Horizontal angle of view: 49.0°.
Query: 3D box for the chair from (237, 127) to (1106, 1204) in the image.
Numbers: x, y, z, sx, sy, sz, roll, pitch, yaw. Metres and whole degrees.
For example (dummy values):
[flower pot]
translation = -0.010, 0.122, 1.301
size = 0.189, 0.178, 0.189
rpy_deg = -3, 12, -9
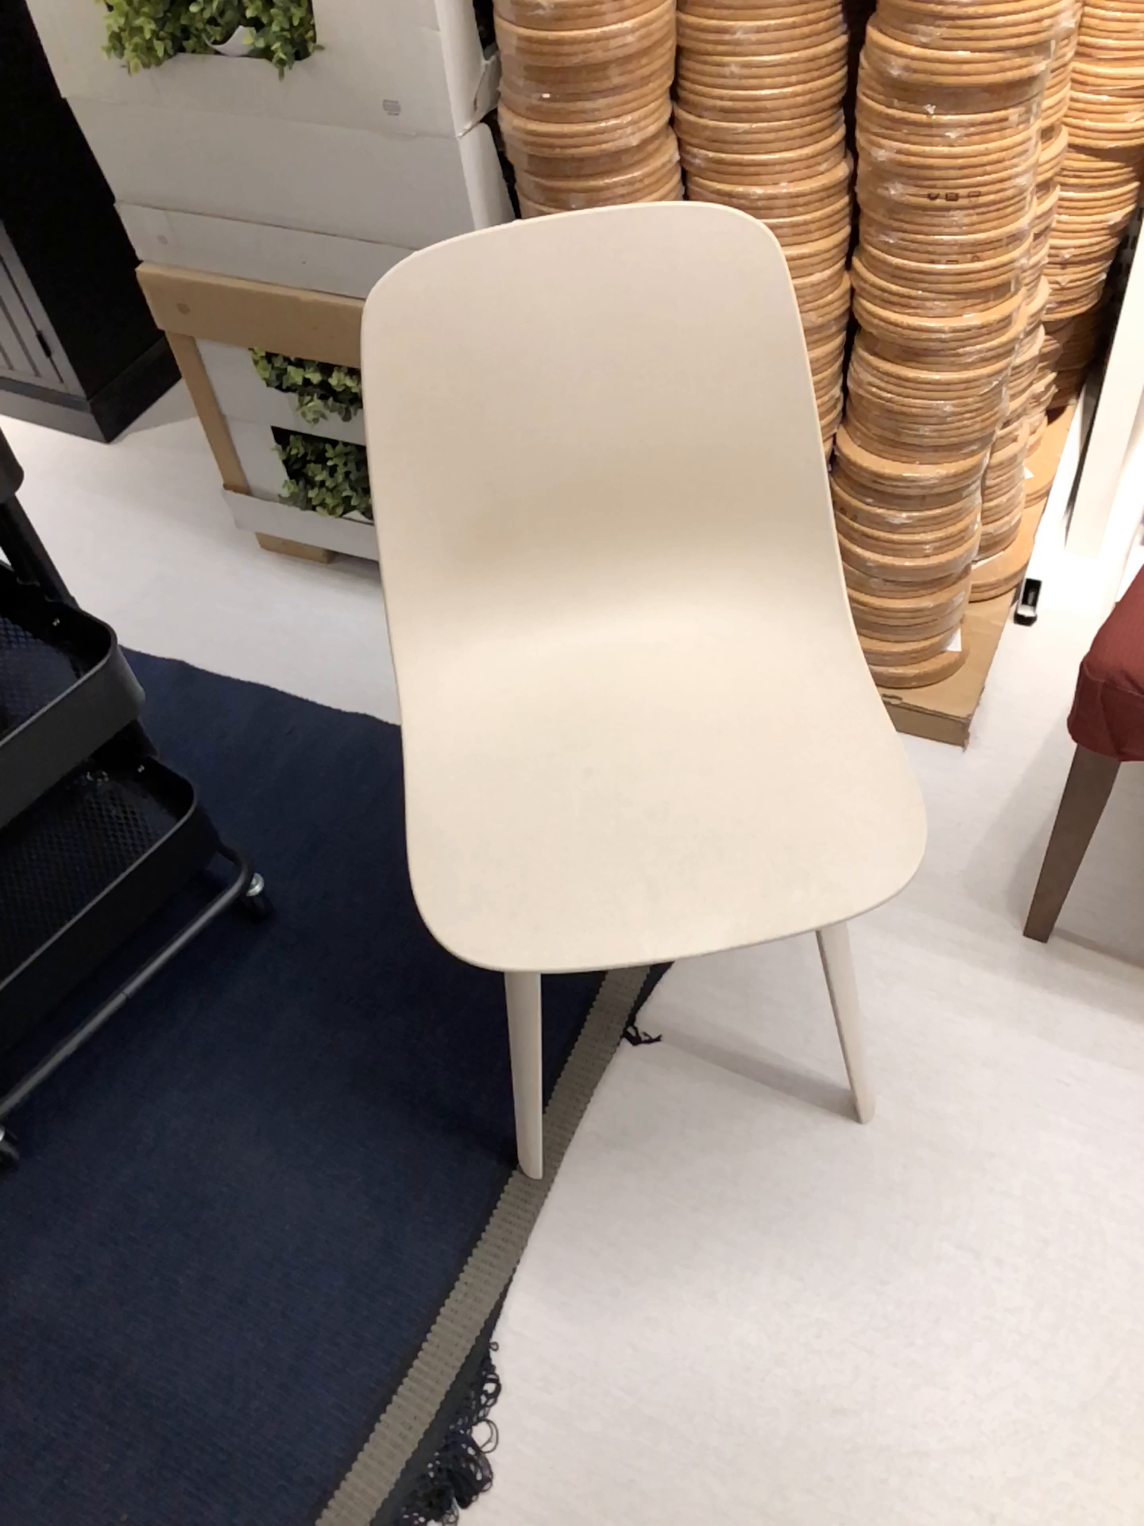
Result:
[chair]
translation = 0.061, -0.033, 1.064
size = 0.450, 0.696, 0.493
rpy_deg = -11, 50, 1
